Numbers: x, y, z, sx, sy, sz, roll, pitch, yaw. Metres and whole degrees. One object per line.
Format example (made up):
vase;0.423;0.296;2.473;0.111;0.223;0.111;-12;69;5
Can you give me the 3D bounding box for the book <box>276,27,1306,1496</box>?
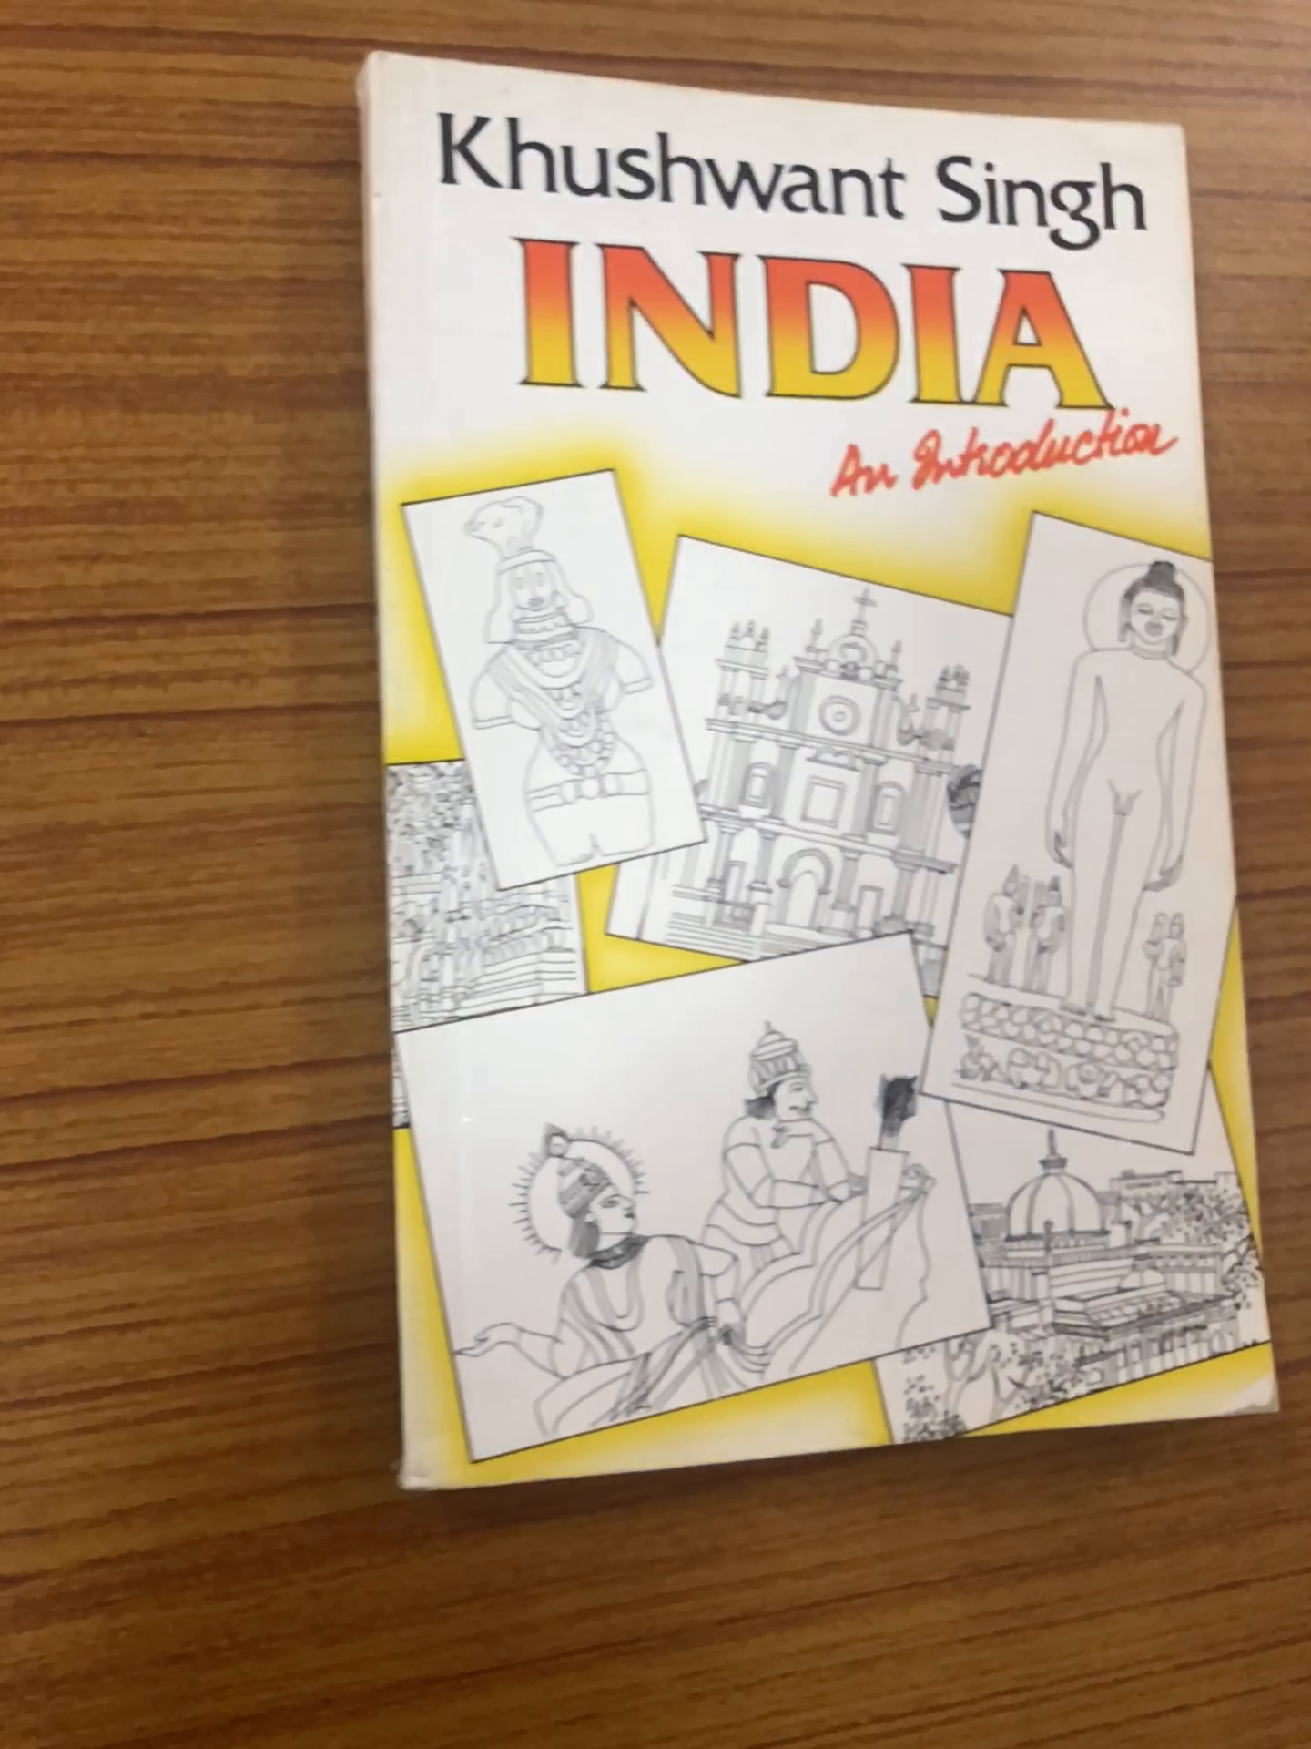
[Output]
book;0.019;-0.019;0.214;0.140;0.020;0.190;-1;85;-12
